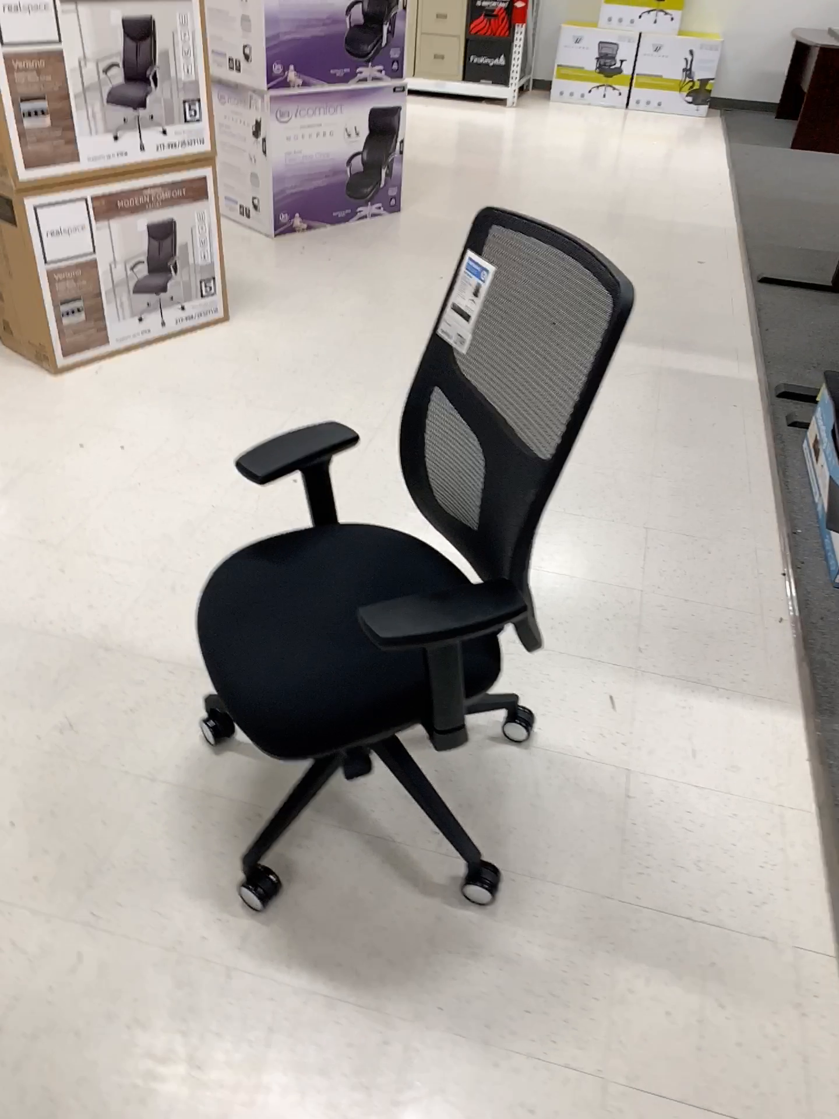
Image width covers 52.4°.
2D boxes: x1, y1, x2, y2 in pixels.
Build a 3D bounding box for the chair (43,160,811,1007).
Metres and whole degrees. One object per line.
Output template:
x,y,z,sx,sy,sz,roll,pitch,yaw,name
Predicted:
-0.067,-0.006,1.366,0.730,0.995,0.703,-14,40,-22,chair
